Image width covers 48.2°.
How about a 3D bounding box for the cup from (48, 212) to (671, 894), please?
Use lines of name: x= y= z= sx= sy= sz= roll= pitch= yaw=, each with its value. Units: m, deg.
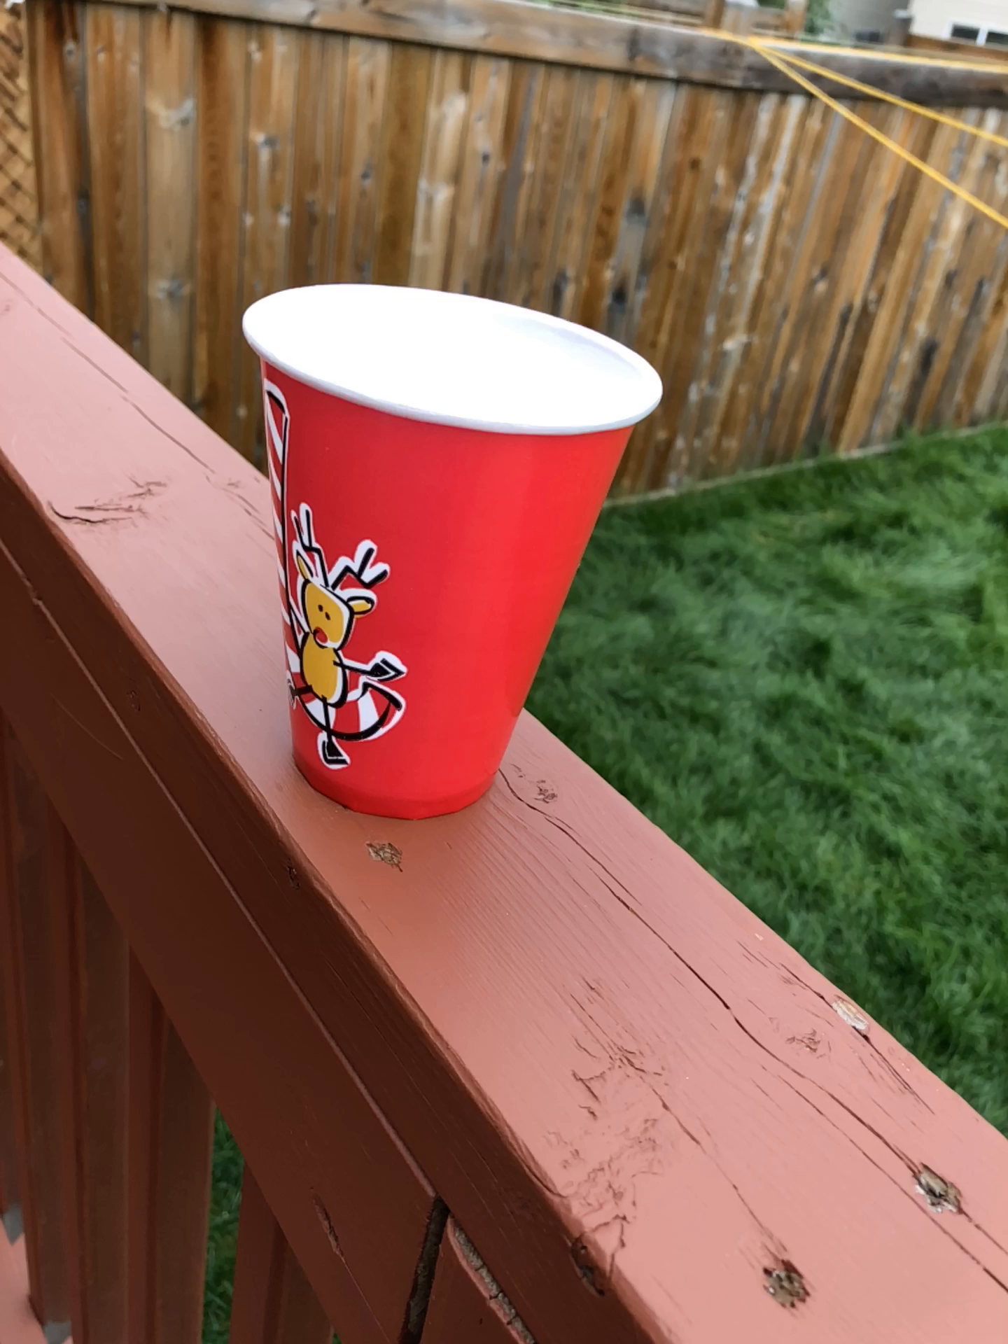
cup: x=-0.031 y=-0.031 z=0.231 sx=0.080 sy=0.100 sz=0.080 roll=7 pitch=31 yaw=-4
